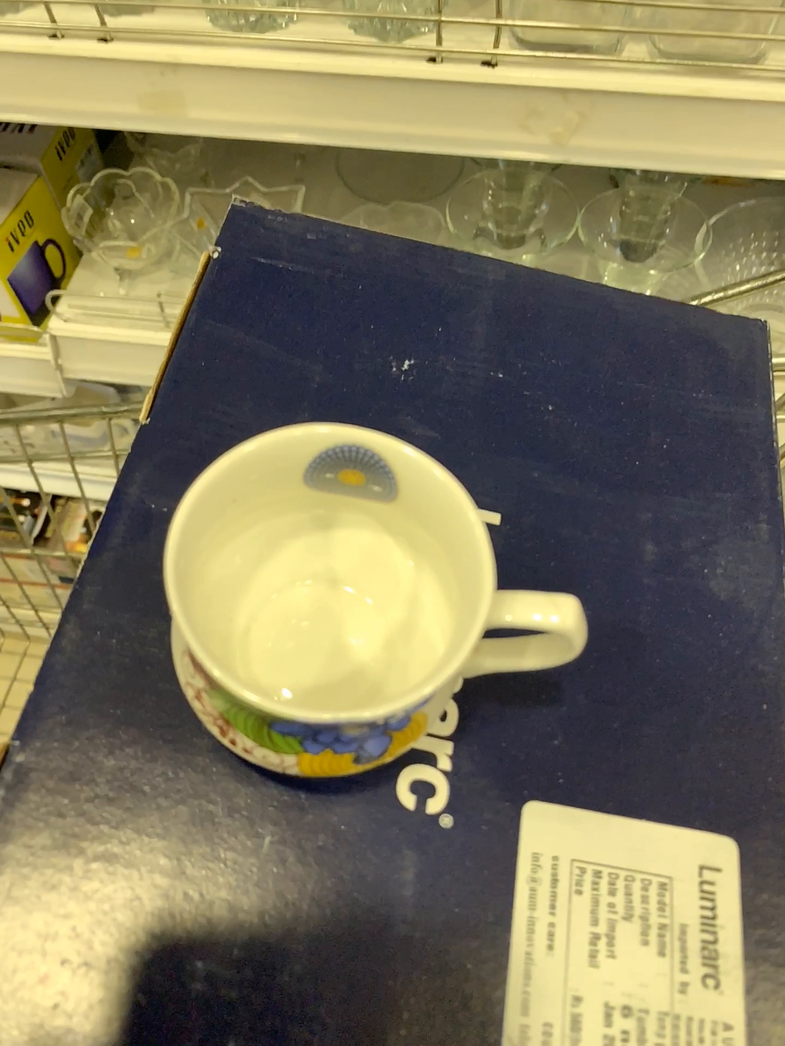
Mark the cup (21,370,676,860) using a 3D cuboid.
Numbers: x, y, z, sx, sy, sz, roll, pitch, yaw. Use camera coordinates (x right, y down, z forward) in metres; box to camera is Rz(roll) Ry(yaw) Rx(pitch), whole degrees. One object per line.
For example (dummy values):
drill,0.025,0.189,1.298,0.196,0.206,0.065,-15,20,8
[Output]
cup,-0.004,0.019,0.146,0.090,0.050,0.060,9,61,0
